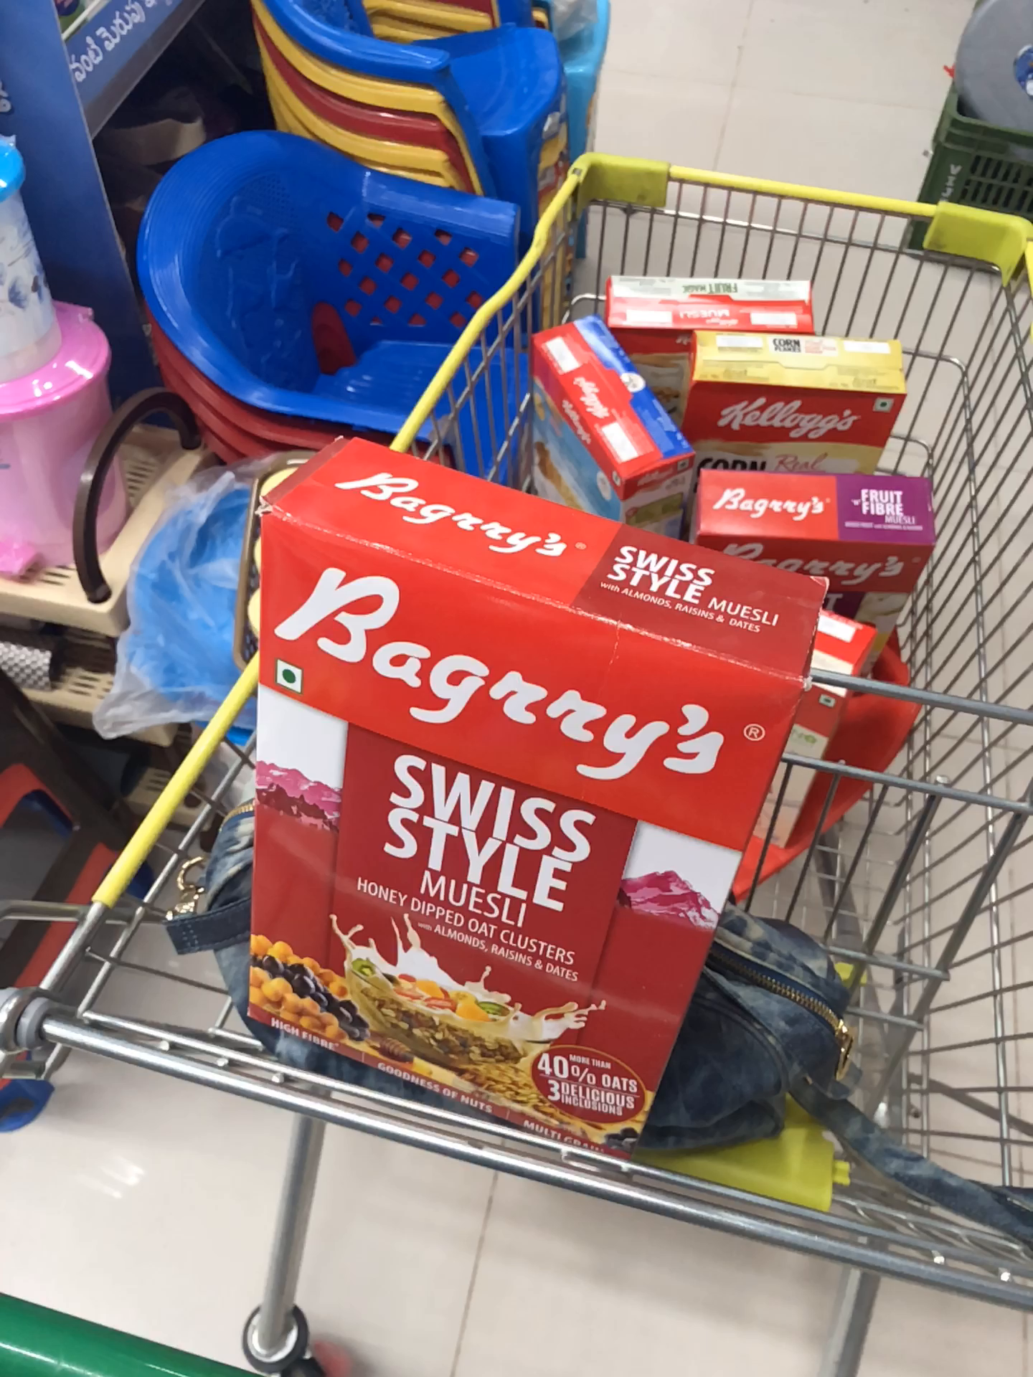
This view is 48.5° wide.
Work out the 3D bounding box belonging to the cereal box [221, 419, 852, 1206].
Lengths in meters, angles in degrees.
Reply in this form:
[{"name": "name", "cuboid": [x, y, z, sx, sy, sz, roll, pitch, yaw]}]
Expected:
[{"name": "cereal box", "cuboid": [-0.010, 0.055, 0.438, 0.190, 0.260, 0.070, 18, 34, 12]}]
